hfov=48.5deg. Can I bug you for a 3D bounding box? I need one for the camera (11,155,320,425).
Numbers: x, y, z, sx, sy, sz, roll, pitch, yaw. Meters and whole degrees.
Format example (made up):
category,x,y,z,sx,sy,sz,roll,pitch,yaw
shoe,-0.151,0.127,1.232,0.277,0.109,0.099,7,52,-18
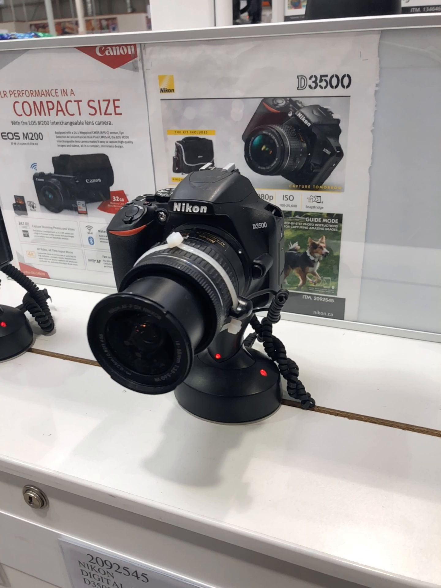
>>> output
category,x,y,z,sx,sy,sz,roll,pitch,yaw
camera,-0.015,-0.024,0.348,0.140,0.110,0.191,6,27,17
